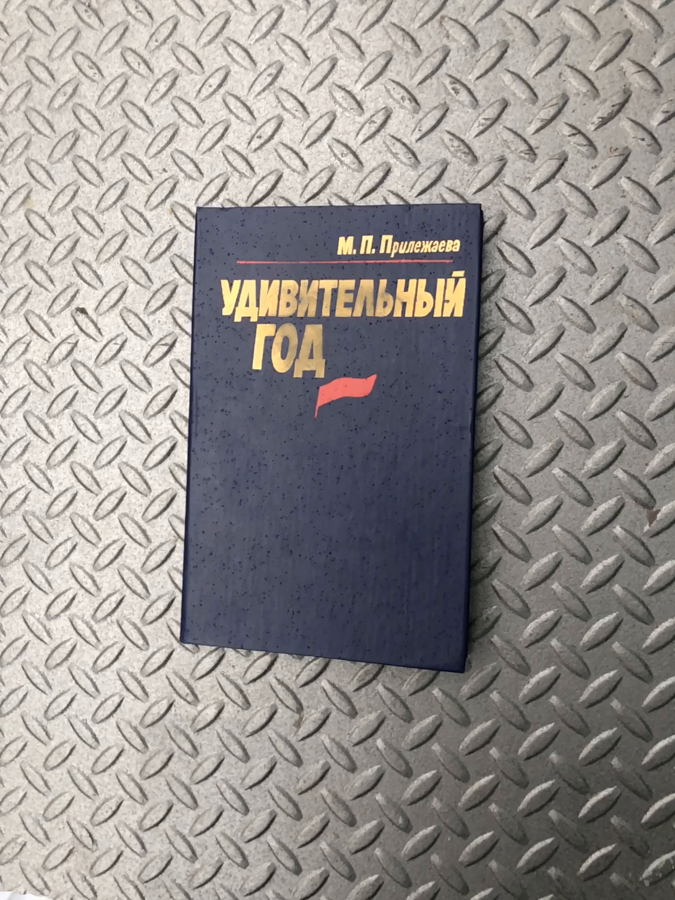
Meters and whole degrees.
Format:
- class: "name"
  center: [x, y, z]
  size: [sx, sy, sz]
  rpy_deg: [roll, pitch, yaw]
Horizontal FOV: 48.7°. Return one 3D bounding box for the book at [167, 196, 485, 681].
- class: "book"
  center: [-0.005, -0.007, 0.339]
  size: [0.130, 0.040, 0.200]
  rpy_deg: [3, 91, 10]
